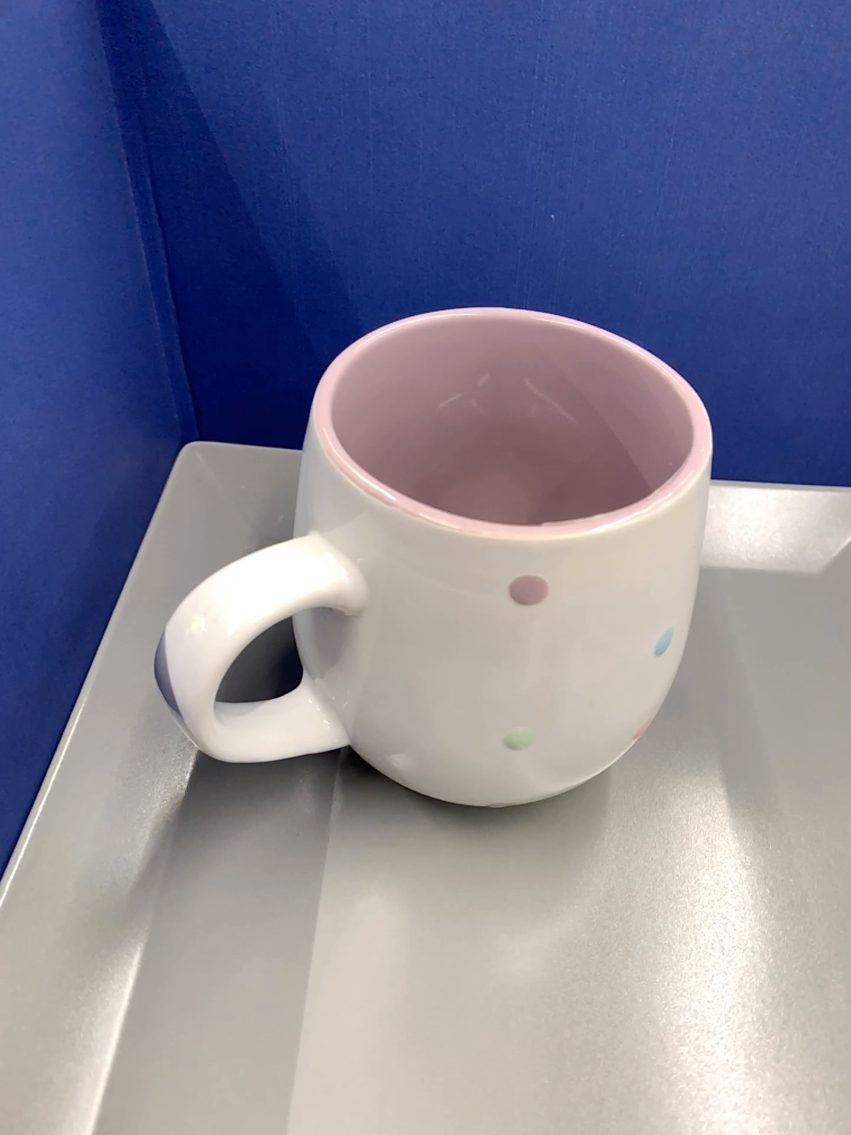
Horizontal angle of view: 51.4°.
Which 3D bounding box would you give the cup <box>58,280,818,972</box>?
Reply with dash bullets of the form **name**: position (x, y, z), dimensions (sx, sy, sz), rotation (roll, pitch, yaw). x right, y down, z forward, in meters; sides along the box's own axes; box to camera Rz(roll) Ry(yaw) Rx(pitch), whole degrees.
- **cup**: position (0.001, 0.003, 0.217), dimensions (0.130, 0.088, 0.097), rotation (-22, 47, -25)
